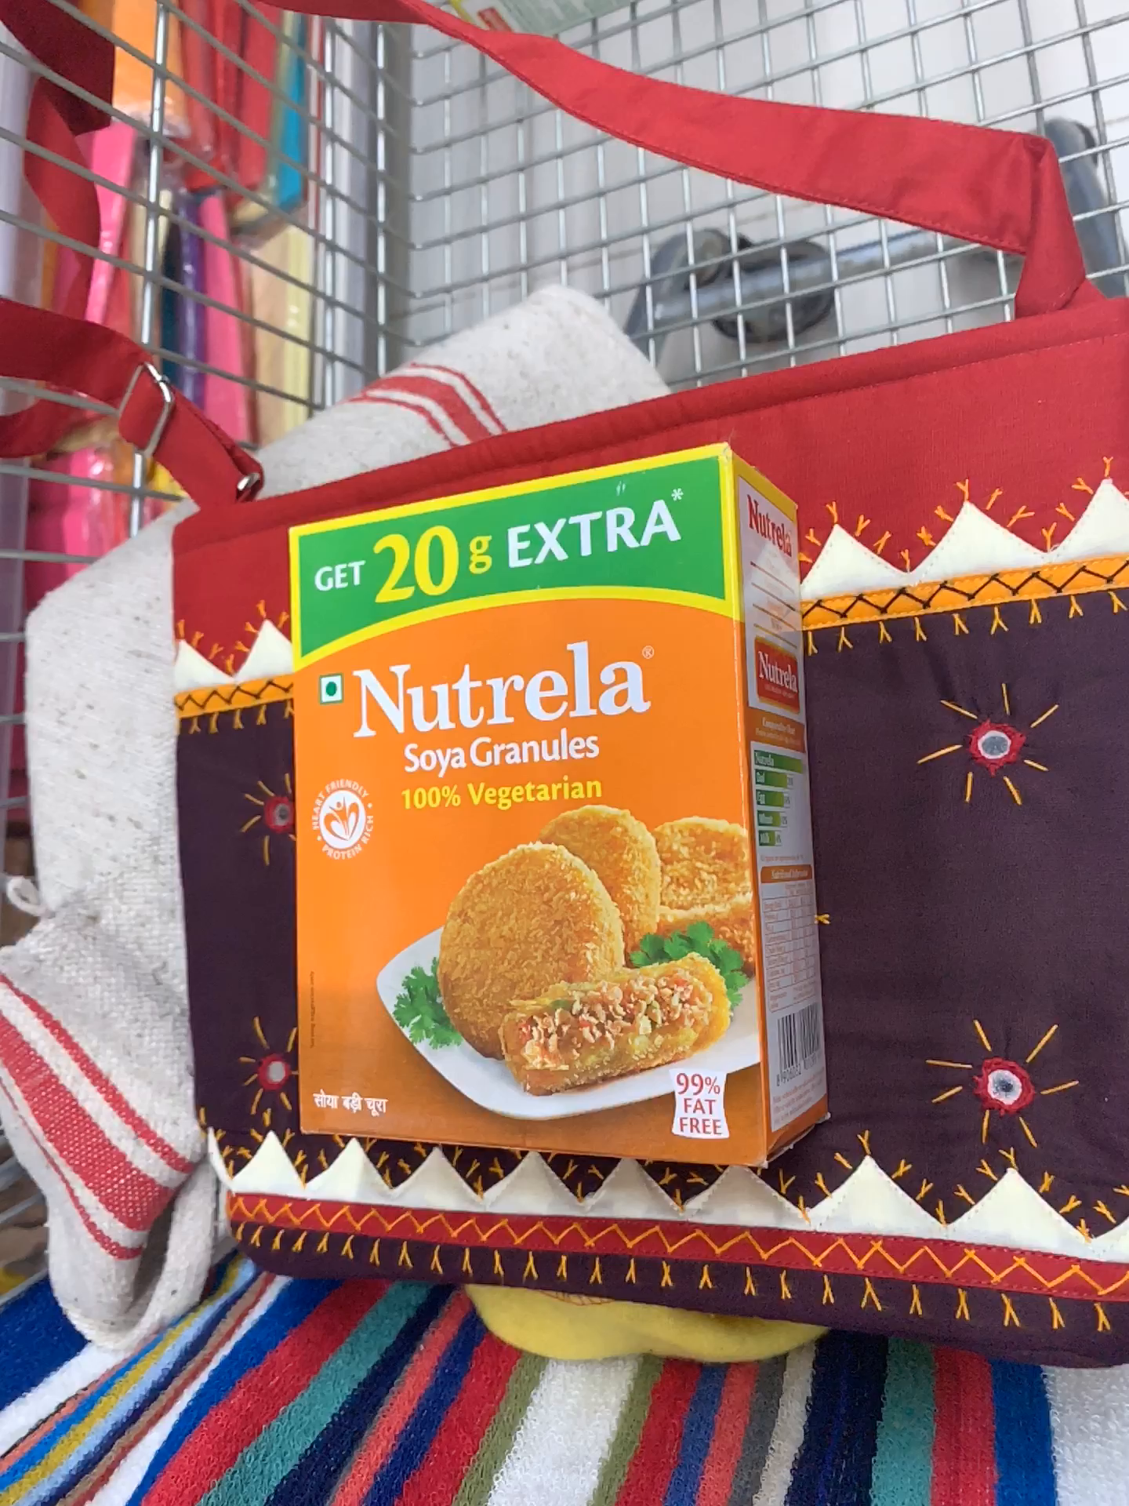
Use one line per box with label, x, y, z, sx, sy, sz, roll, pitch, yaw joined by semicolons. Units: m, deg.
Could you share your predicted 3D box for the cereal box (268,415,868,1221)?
cereal box;-0.001;0.017;0.270;0.120;0.060;0.150;-5;82;26
